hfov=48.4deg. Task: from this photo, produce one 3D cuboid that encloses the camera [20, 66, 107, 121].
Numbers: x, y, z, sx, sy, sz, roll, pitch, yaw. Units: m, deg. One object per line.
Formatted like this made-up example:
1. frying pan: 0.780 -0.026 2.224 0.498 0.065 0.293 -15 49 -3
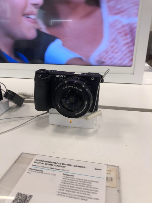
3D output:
1. camera: -0.017 -0.018 0.289 0.130 0.070 0.060 4 22 11
